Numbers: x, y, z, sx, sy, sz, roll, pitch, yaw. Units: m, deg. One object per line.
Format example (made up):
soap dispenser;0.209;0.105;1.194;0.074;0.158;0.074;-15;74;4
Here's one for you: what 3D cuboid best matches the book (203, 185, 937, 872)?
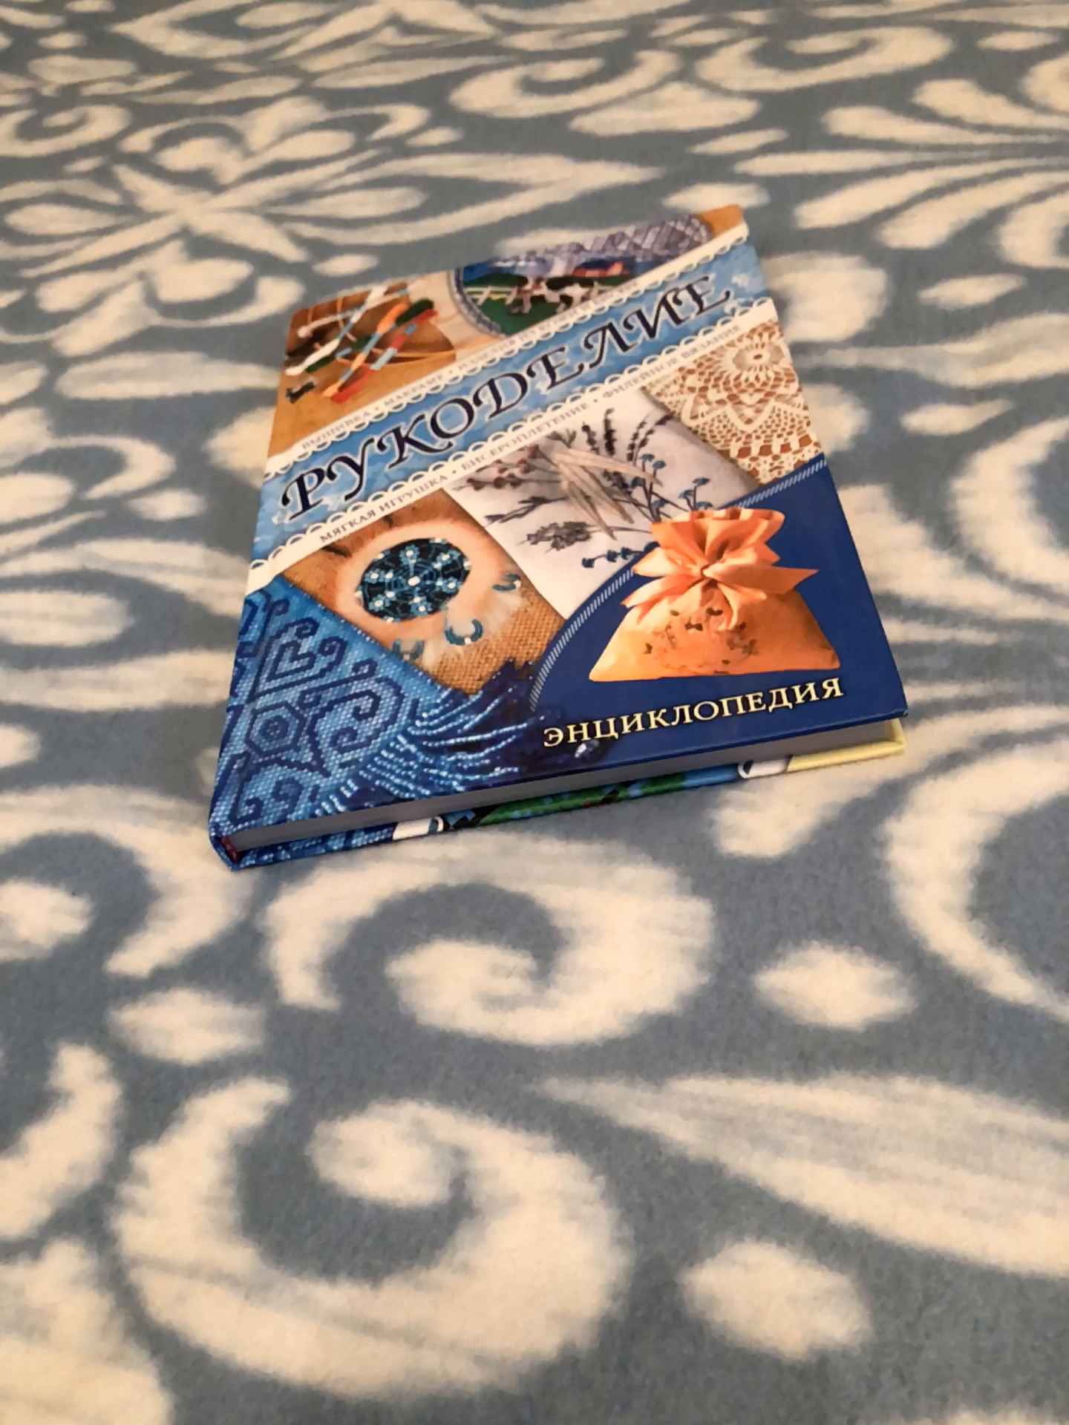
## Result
book;0.000;-0.072;0.352;0.168;0.020;0.238;-11;48;7
